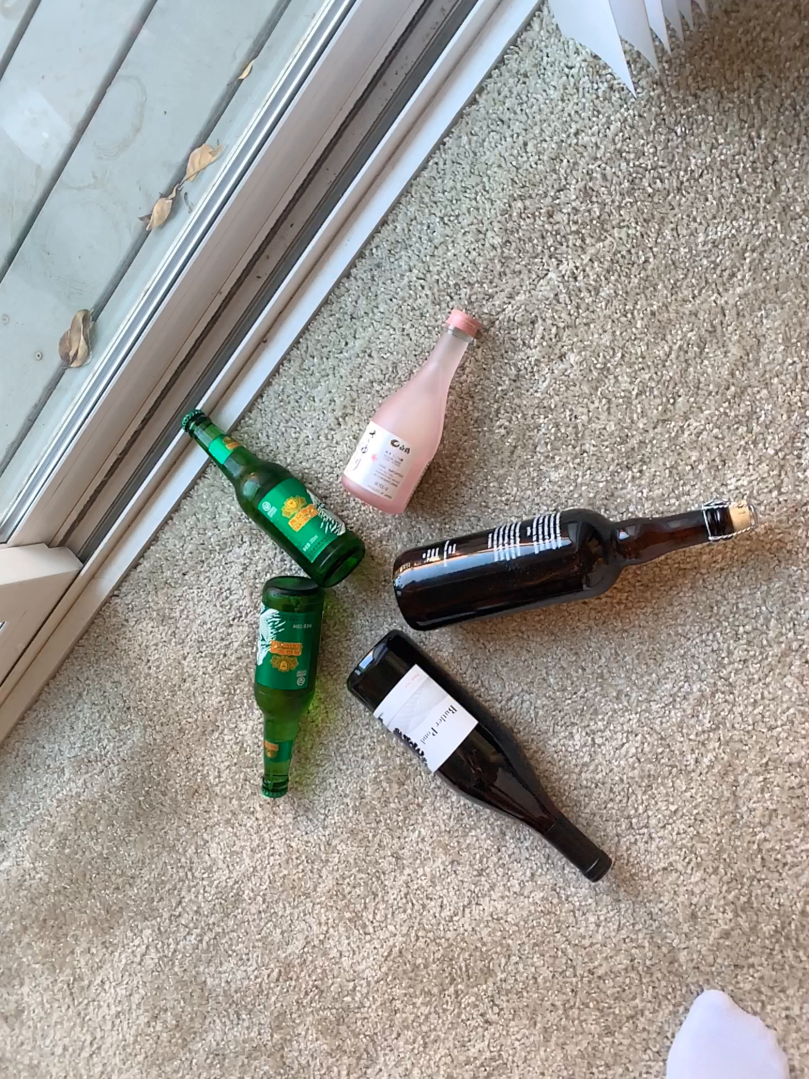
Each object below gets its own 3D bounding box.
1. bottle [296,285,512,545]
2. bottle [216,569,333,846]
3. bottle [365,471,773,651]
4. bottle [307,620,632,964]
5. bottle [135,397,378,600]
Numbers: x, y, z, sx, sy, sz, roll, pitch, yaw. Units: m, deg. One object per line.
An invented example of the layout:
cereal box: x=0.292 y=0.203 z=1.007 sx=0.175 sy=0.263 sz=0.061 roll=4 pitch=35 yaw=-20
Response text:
bottle: x=0.000 y=-0.102 z=0.710 sx=0.070 sy=0.090 sz=0.200 roll=35 pitch=108 yaw=15
bottle: x=-0.125 y=0.157 z=0.801 sx=0.060 sy=0.090 sz=0.240 roll=9 pitch=100 yaw=21
bottle: x=0.130 y=0.020 z=0.688 sx=0.311 sy=0.090 sz=0.070 roll=-15 pitch=91 yaw=23
bottle: x=0.057 y=0.210 z=0.729 sx=0.300 sy=0.090 sz=0.070 roll=44 pitch=110 yaw=12
bottle: x=-0.143 y=-0.044 z=0.801 sx=0.230 sy=0.080 sz=0.060 roll=39 pitch=109 yaw=14
